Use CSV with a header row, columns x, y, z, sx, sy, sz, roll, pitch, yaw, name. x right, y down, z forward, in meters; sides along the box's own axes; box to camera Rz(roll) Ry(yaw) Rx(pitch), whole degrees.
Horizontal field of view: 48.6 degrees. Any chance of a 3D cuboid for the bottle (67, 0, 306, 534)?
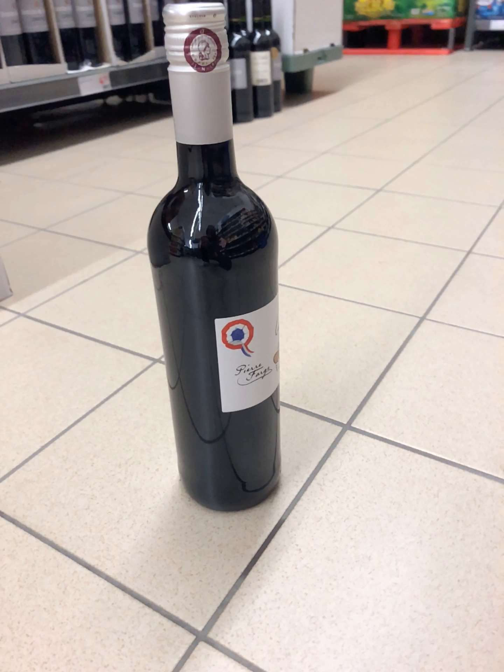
x,y,z,sx,sy,sz,roll,pitch,yaw,name
-0.022,-0.026,0.334,0.080,0.298,0.081,-2,31,1,bottle
